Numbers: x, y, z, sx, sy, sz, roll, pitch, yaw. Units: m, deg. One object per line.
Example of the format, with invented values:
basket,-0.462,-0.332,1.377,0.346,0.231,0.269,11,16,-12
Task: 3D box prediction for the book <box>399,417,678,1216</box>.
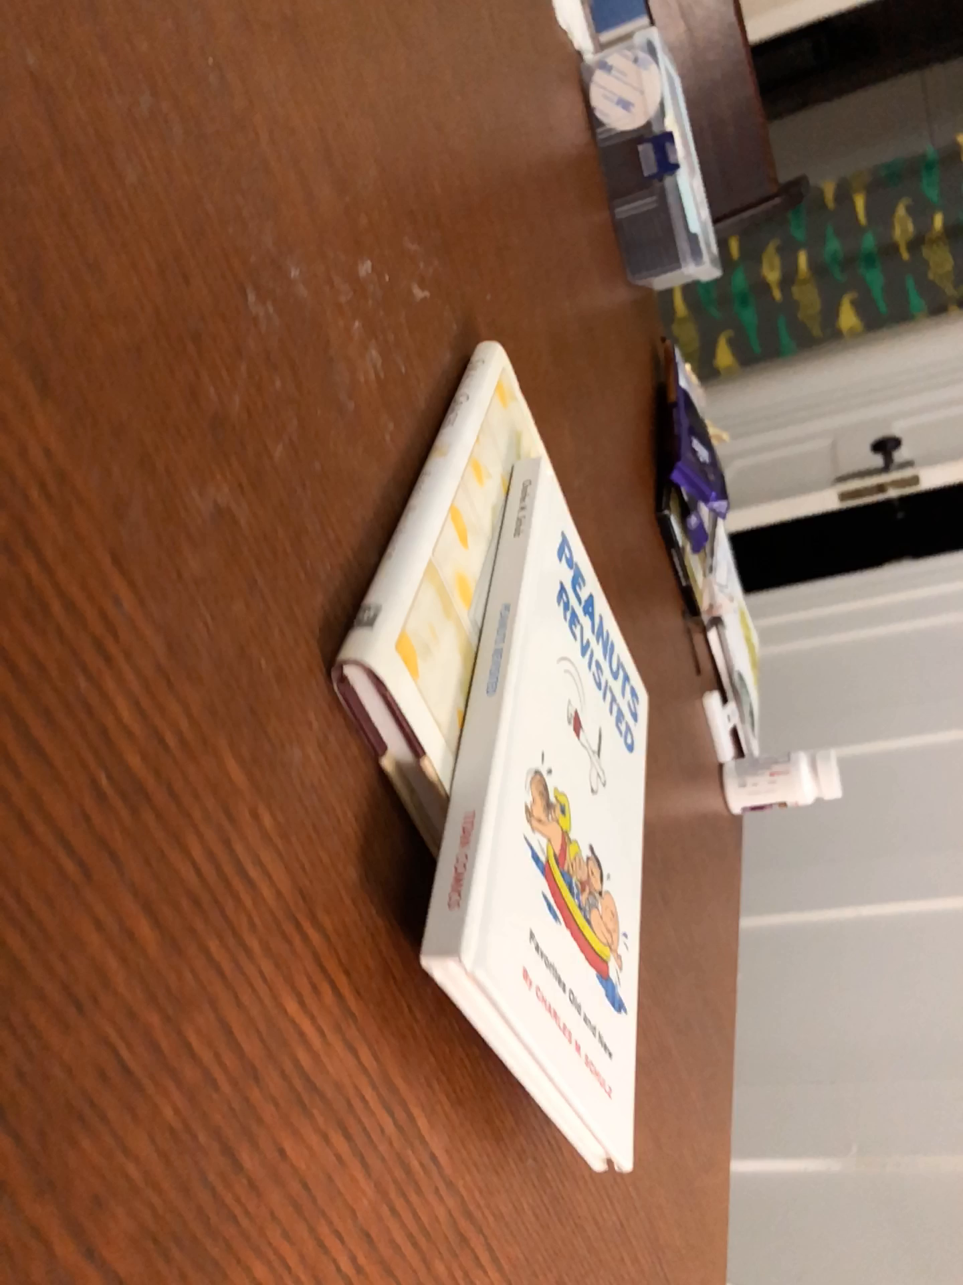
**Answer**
book,0.035,0.052,0.358,0.211,0.020,0.160,-80,150,-43
